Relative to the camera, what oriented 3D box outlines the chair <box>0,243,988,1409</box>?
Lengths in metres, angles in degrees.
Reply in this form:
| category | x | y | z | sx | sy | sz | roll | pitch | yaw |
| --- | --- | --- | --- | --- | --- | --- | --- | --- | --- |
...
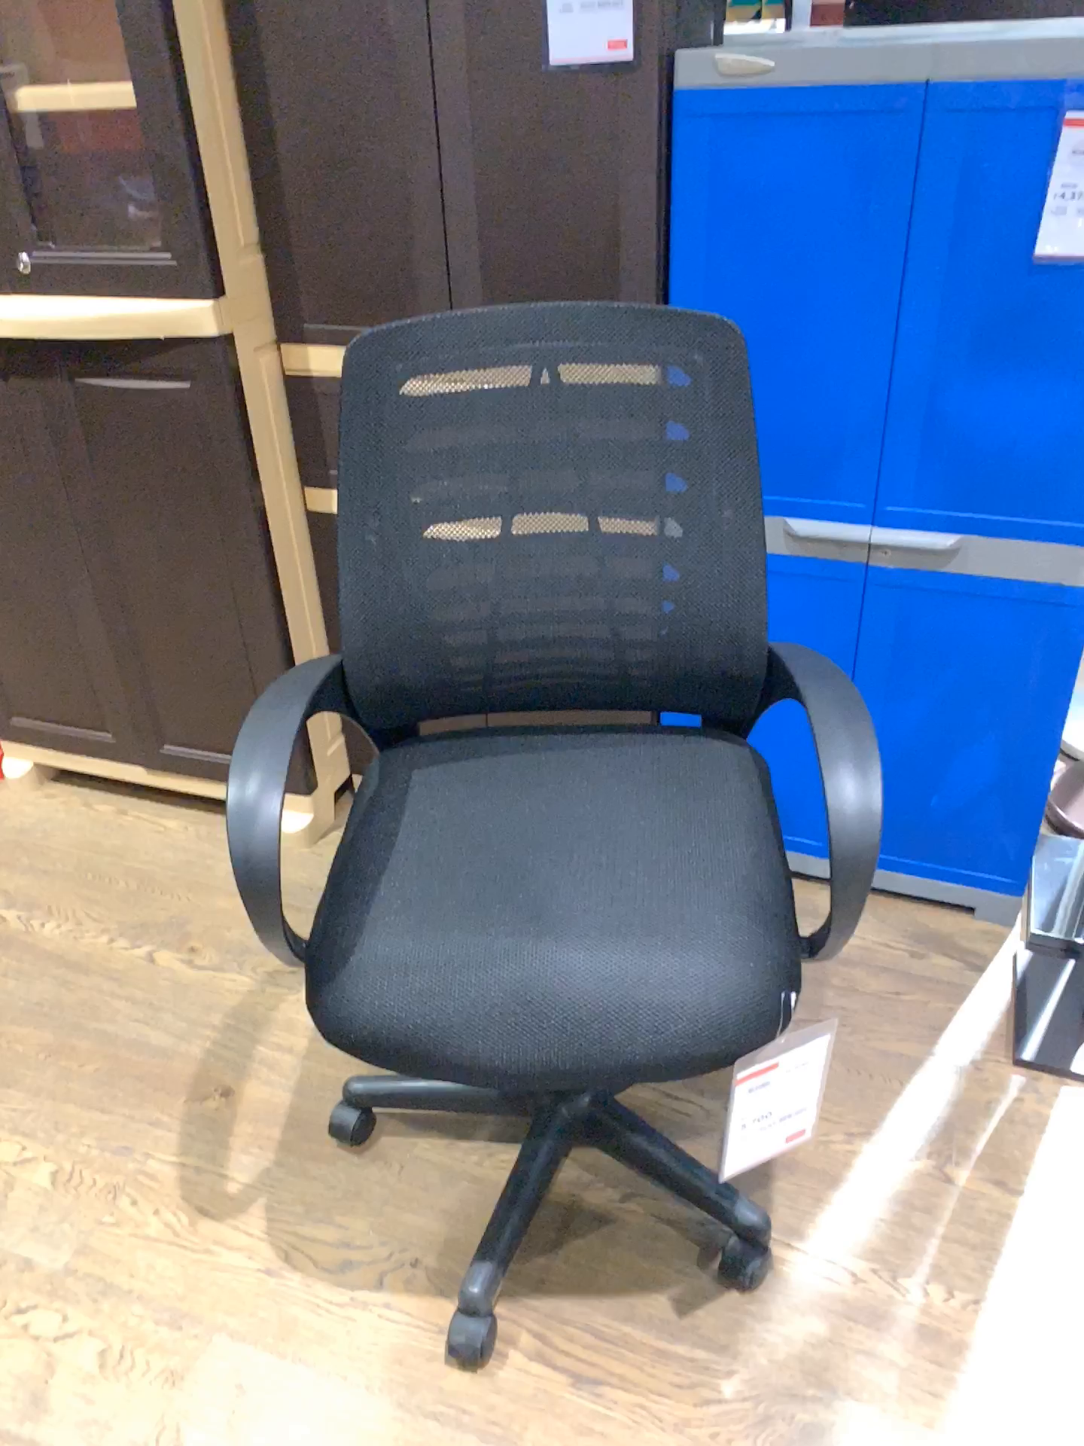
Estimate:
| category | x | y | z | sx | sy | sz | roll | pitch | yaw |
| --- | --- | --- | --- | --- | --- | --- | --- | --- | --- |
| chair | -0.022 | 0.108 | 1.122 | 0.600 | 0.996 | 0.602 | 0 | 32 | 4 |
